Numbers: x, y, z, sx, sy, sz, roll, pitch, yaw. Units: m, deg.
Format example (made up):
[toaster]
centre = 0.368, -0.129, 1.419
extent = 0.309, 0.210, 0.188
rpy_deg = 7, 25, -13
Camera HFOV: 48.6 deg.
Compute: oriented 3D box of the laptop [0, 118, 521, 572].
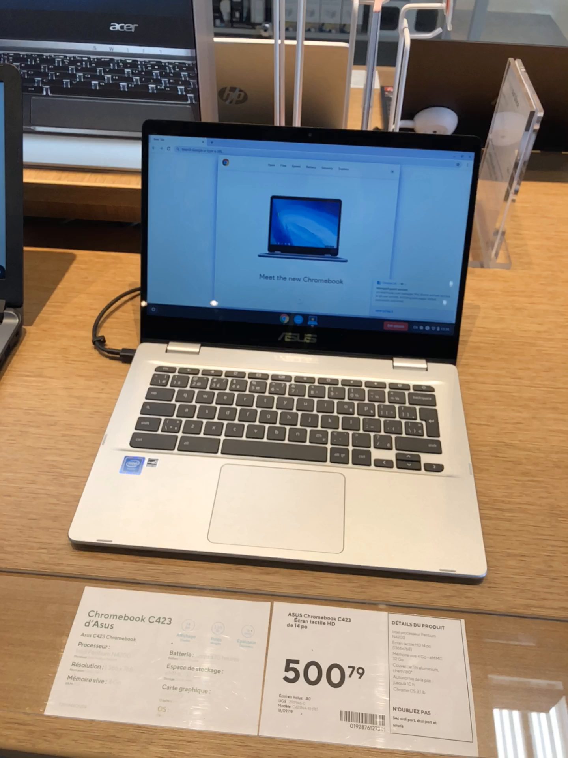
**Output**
[laptop]
centre = -0.012, -0.049, 0.524
extent = 0.281, 0.186, 0.337
rpy_deg = 3, 44, 0
